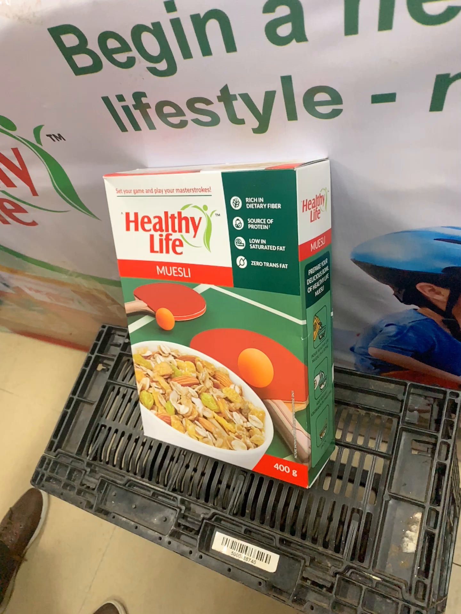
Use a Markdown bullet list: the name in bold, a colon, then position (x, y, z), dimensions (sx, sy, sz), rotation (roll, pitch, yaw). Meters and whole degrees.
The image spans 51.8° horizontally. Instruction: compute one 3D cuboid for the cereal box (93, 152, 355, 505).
- **cereal box**: position (0.000, 0.007, 0.370), dimensions (0.171, 0.230, 0.080), rotation (7, 20, 32)
